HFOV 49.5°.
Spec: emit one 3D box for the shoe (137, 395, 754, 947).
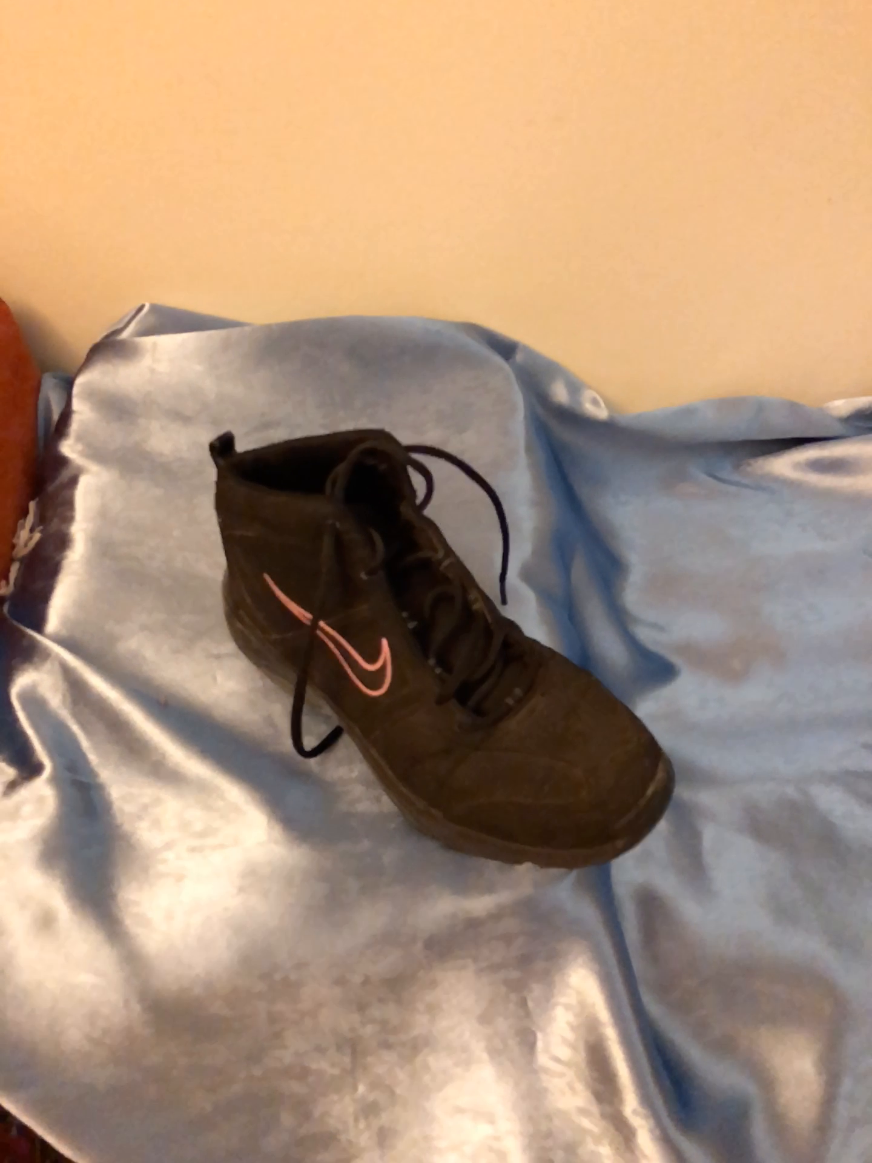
[{"bbox_3d":[-0.005,0.028,0.446,0.261,0.099,0.108,32,56,27],"label":"shoe"}]
